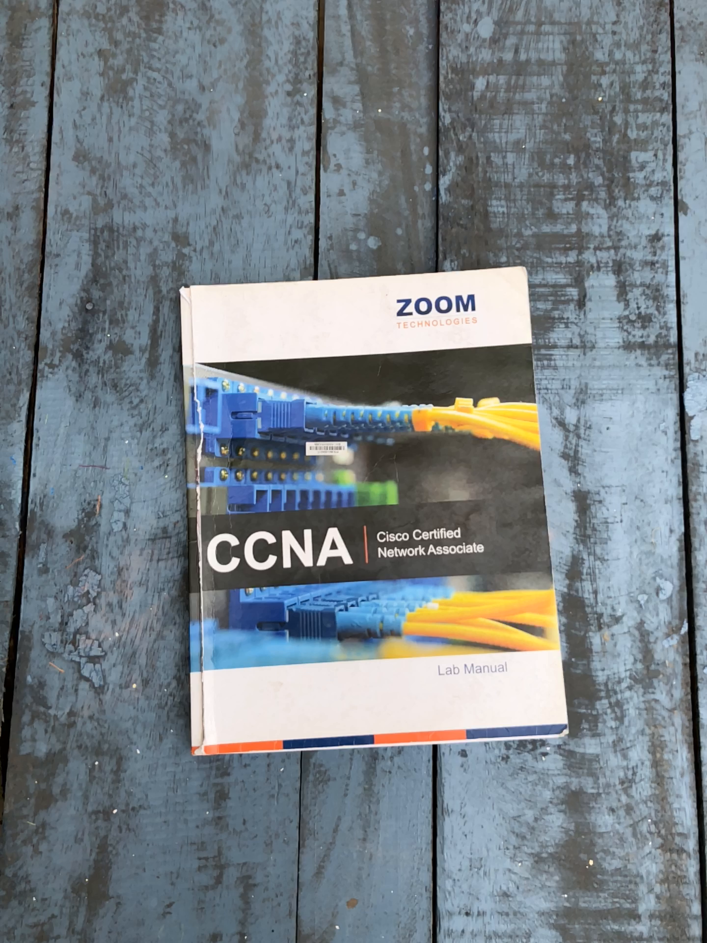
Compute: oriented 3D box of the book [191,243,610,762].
[{"bbox_3d":[0.019,0.011,0.422,0.200,0.030,0.260,-3,80,0],"label":"book"}]
